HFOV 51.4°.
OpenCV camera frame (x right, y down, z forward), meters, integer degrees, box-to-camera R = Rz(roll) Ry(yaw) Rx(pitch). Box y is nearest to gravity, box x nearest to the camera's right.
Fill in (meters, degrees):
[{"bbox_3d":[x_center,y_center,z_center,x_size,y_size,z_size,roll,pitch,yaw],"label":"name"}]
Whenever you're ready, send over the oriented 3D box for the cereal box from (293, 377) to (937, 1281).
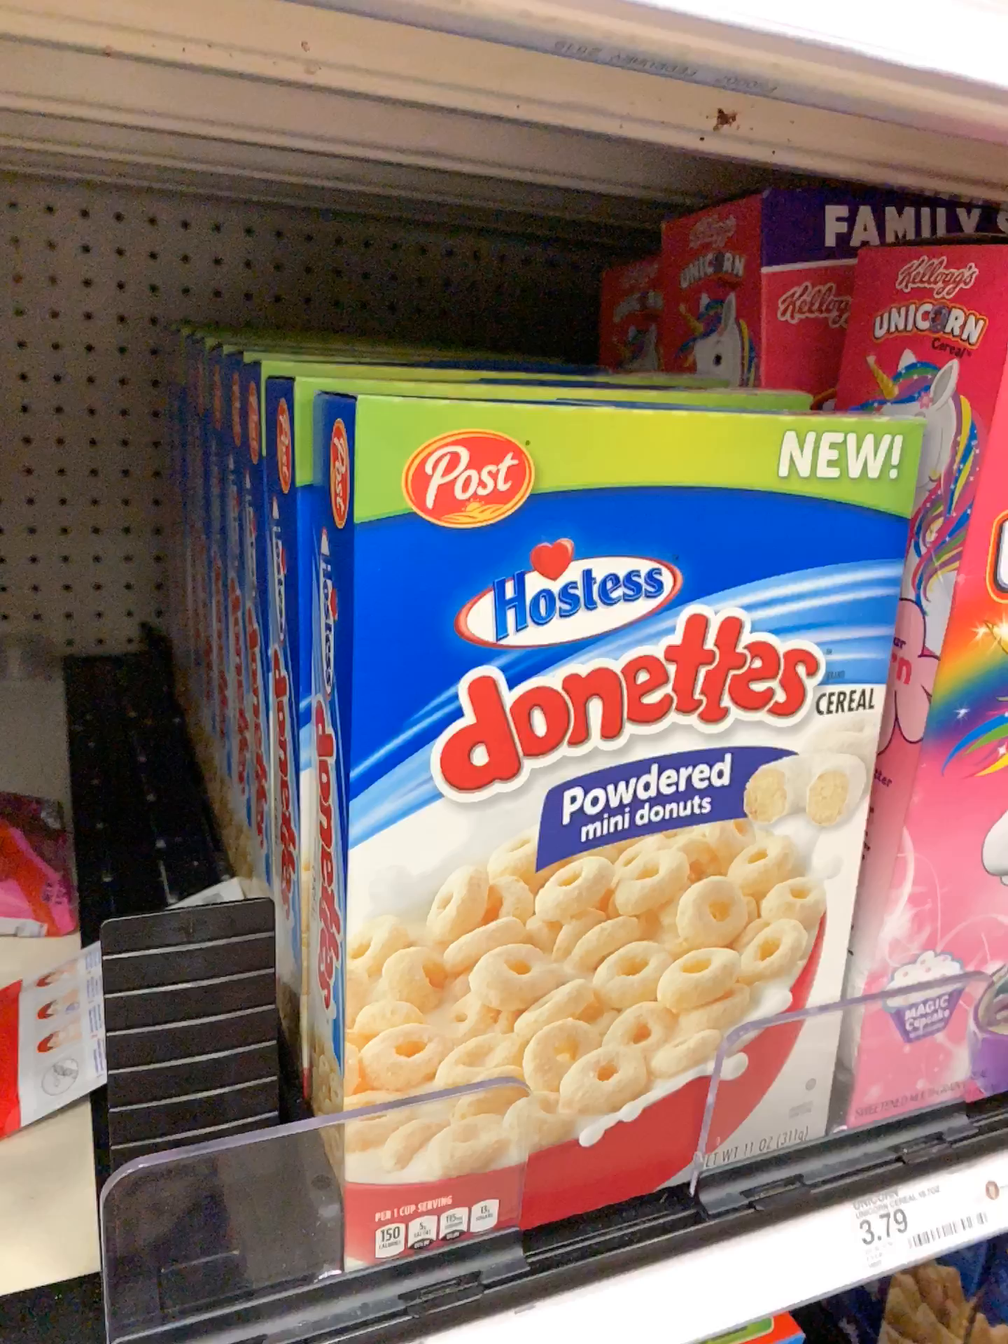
[{"bbox_3d":[0.030,0.045,0.354,0.190,0.269,0.060,-3,16,-23],"label":"cereal box"}]
